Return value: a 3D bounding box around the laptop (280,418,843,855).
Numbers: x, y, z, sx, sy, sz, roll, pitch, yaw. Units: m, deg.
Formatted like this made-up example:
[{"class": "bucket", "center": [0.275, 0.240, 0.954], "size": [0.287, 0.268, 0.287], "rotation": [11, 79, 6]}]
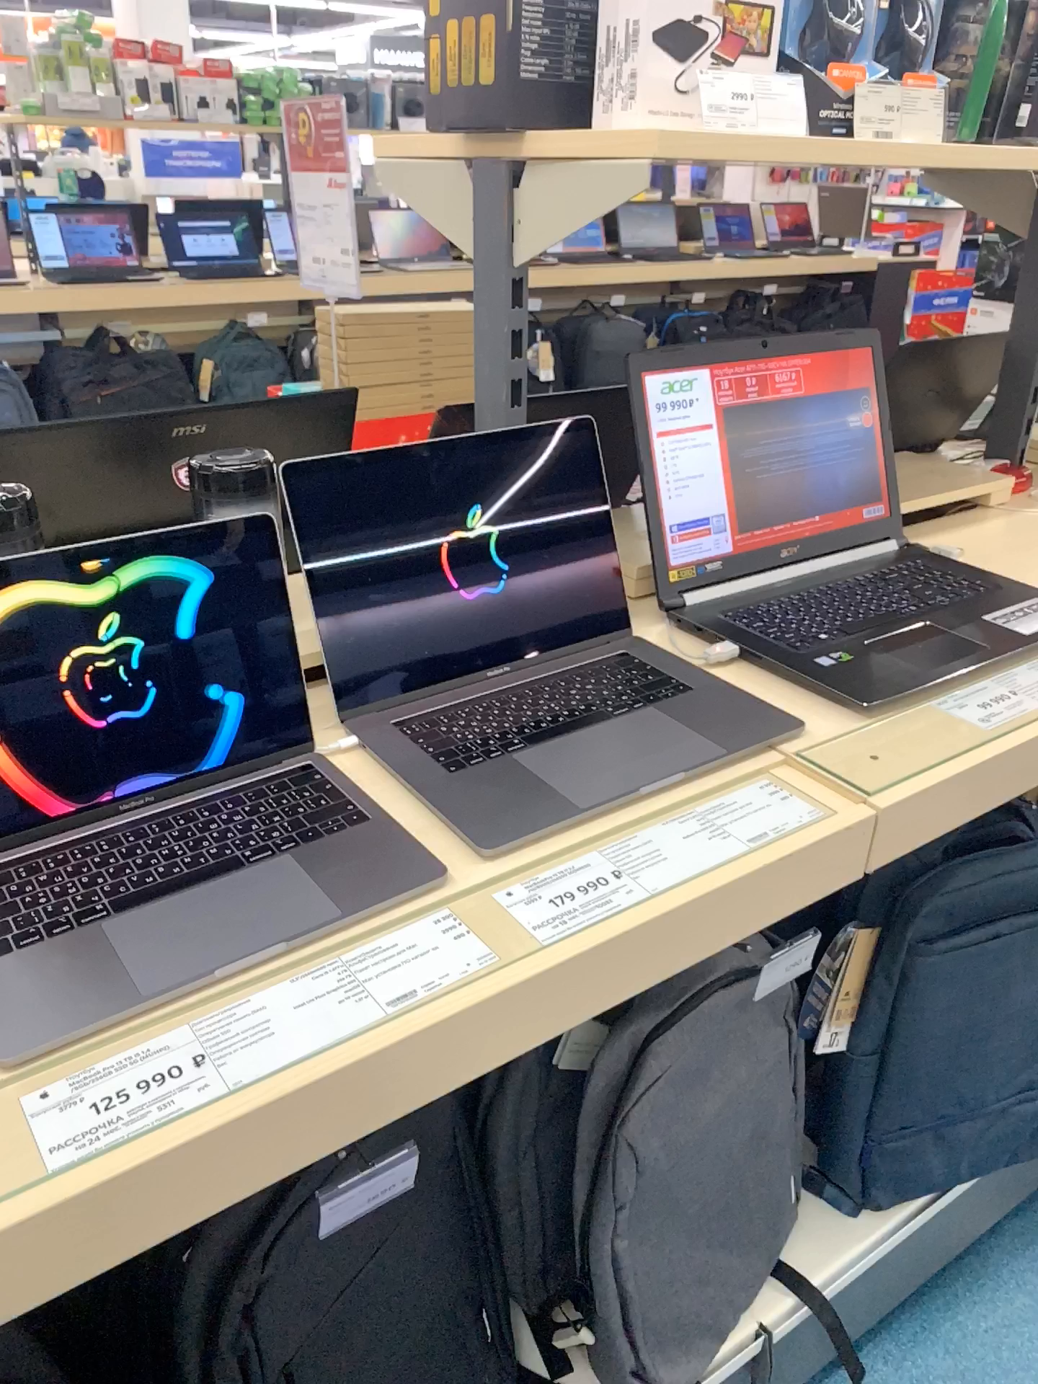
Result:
[{"class": "laptop", "center": [0.026, -0.082, 0.937], "size": [0.345, 0.210, 0.325], "rotation": [-17, 32, -32]}]
